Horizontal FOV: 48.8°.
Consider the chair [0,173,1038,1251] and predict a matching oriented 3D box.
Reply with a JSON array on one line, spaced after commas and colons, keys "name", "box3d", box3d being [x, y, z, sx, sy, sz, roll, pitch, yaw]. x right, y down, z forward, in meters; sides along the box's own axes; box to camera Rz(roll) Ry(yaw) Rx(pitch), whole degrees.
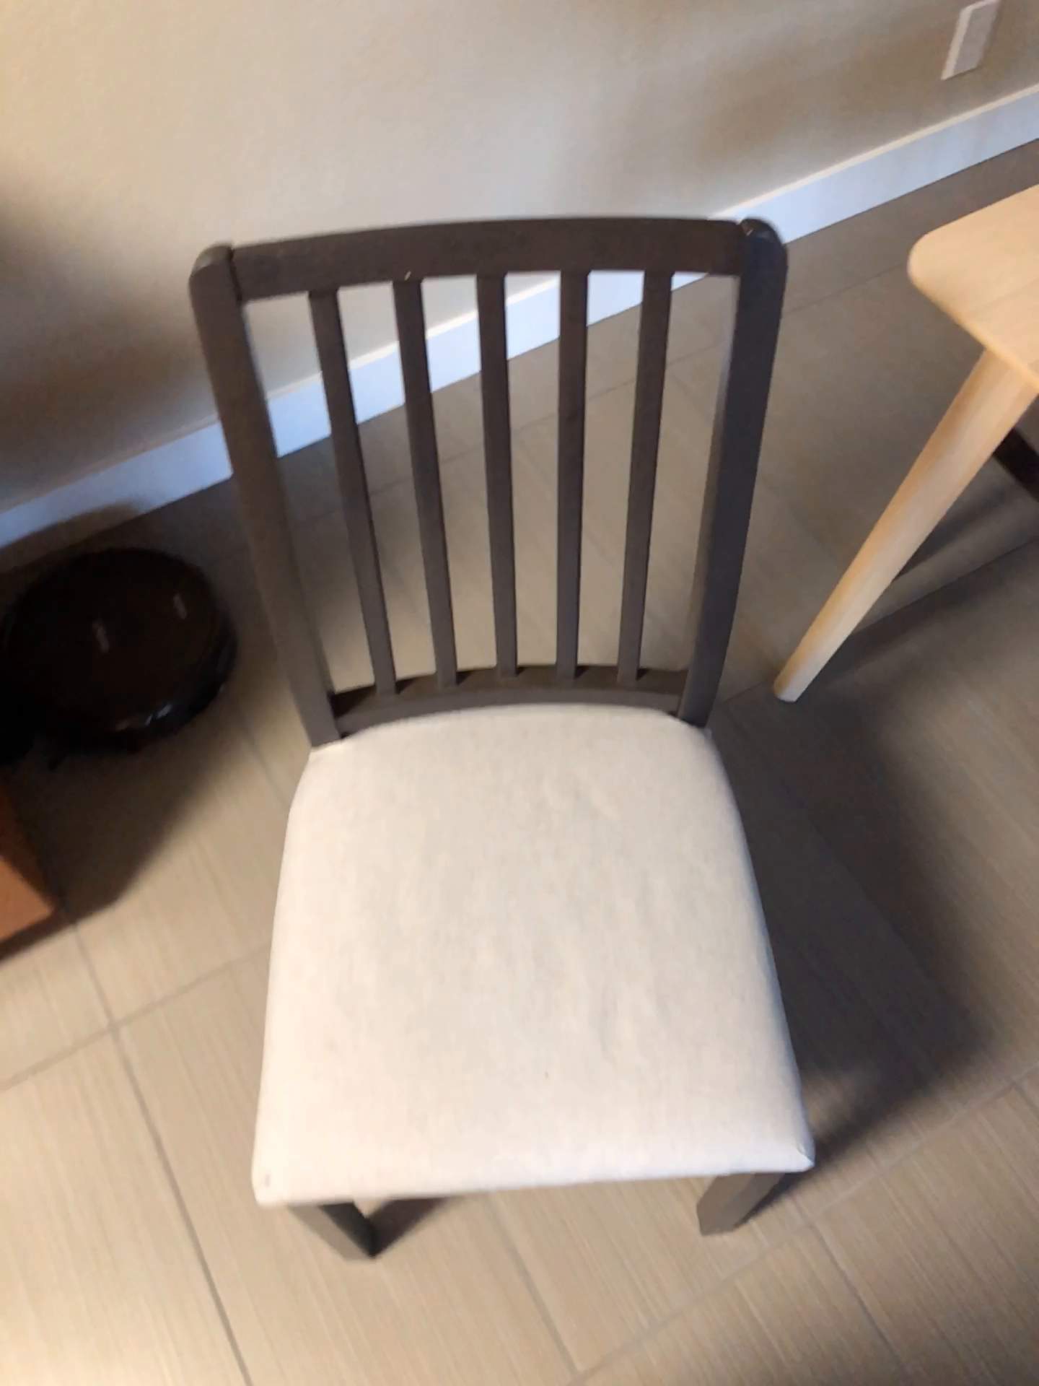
[{"name": "chair", "box3d": [-0.012, 0.179, 1.089, 0.480, 1.127, 0.511, 0, 58, 1]}]
